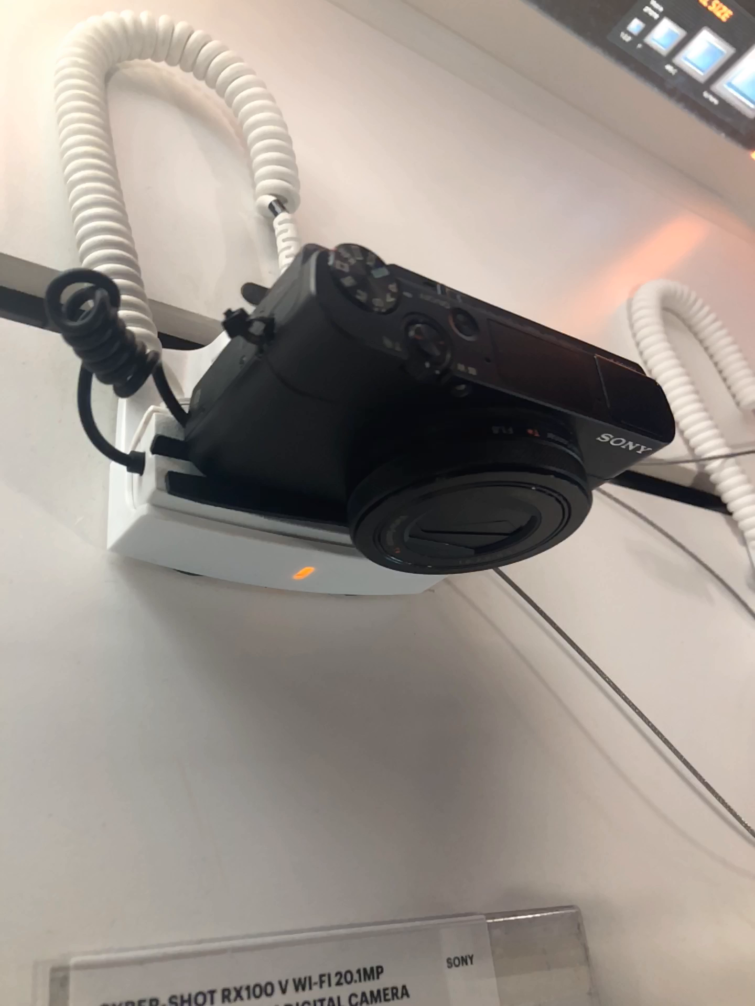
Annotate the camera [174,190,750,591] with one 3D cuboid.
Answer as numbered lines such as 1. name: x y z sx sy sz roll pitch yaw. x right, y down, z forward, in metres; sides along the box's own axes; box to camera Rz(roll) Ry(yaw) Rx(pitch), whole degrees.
1. camera: 0.017 -0.014 0.179 0.101 0.063 0.032 12 56 -32
